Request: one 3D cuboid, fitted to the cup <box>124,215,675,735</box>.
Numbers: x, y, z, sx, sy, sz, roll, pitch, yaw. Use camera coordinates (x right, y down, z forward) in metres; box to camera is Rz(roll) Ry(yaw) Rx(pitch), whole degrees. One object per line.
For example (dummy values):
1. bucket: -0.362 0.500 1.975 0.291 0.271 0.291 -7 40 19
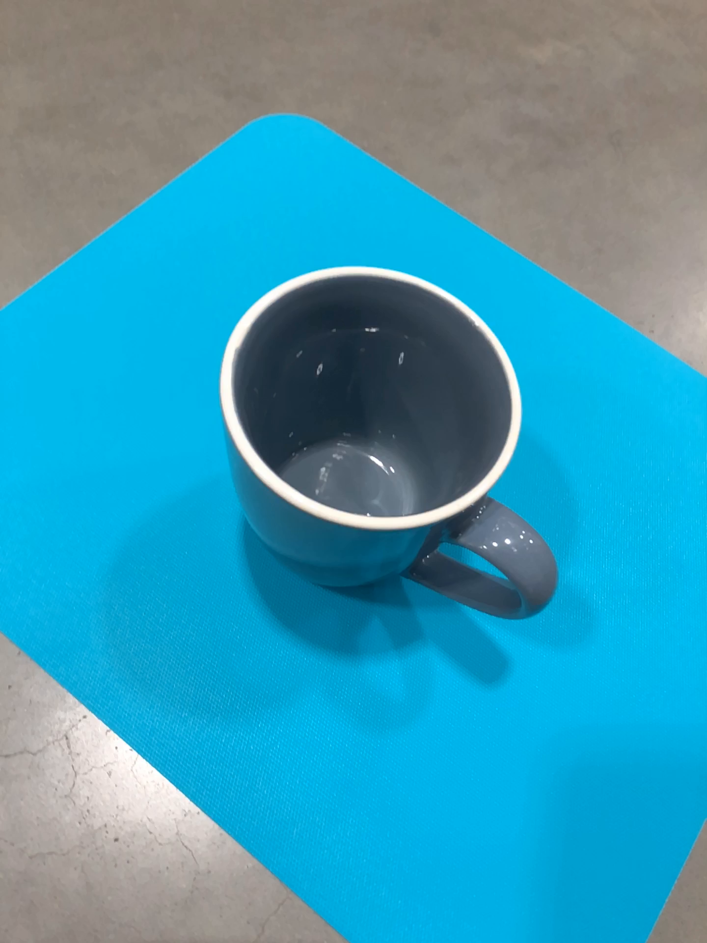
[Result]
1. cup: 0.011 0.003 0.258 0.130 0.080 0.090 34 64 9
